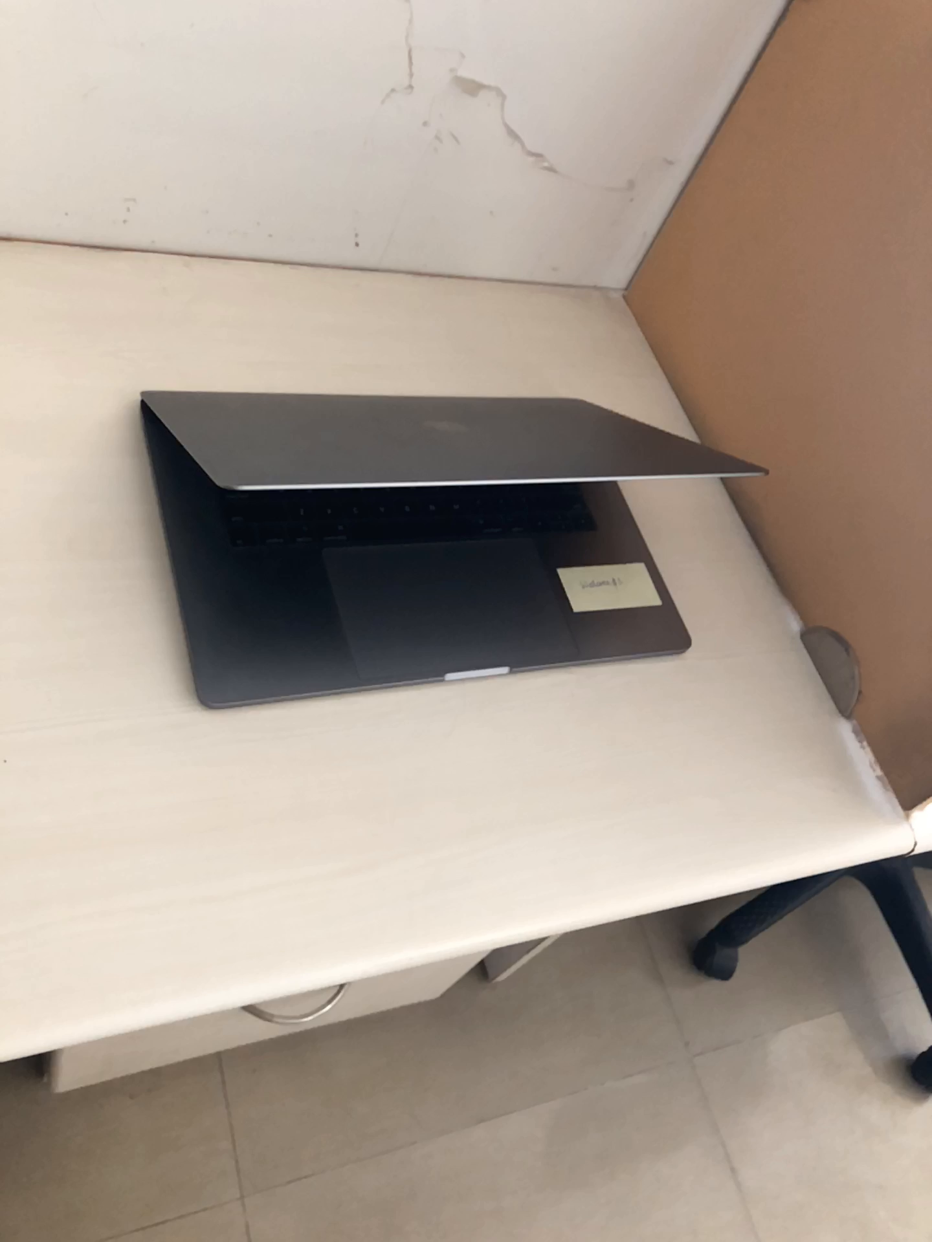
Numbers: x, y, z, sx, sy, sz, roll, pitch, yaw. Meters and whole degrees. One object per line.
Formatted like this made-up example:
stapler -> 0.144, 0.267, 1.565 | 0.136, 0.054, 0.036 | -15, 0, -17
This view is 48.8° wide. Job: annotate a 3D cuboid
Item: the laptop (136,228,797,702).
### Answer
laptop -> -0.012, -0.101, 0.637 | 0.330, 0.134, 0.233 | -5, 57, -26
